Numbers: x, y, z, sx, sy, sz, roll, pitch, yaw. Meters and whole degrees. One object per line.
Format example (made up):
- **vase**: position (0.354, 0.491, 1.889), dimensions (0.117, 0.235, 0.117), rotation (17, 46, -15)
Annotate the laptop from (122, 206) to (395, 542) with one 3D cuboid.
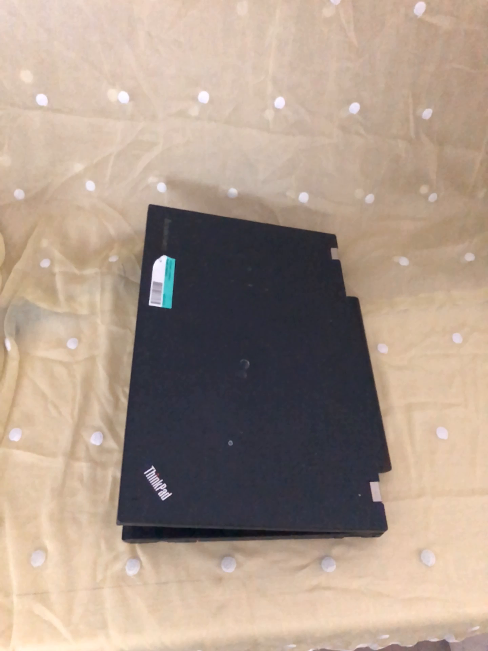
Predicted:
- **laptop**: position (0.007, 0.025, 0.564), dimensions (0.225, 0.050, 0.357), rotation (0, 56, -1)
